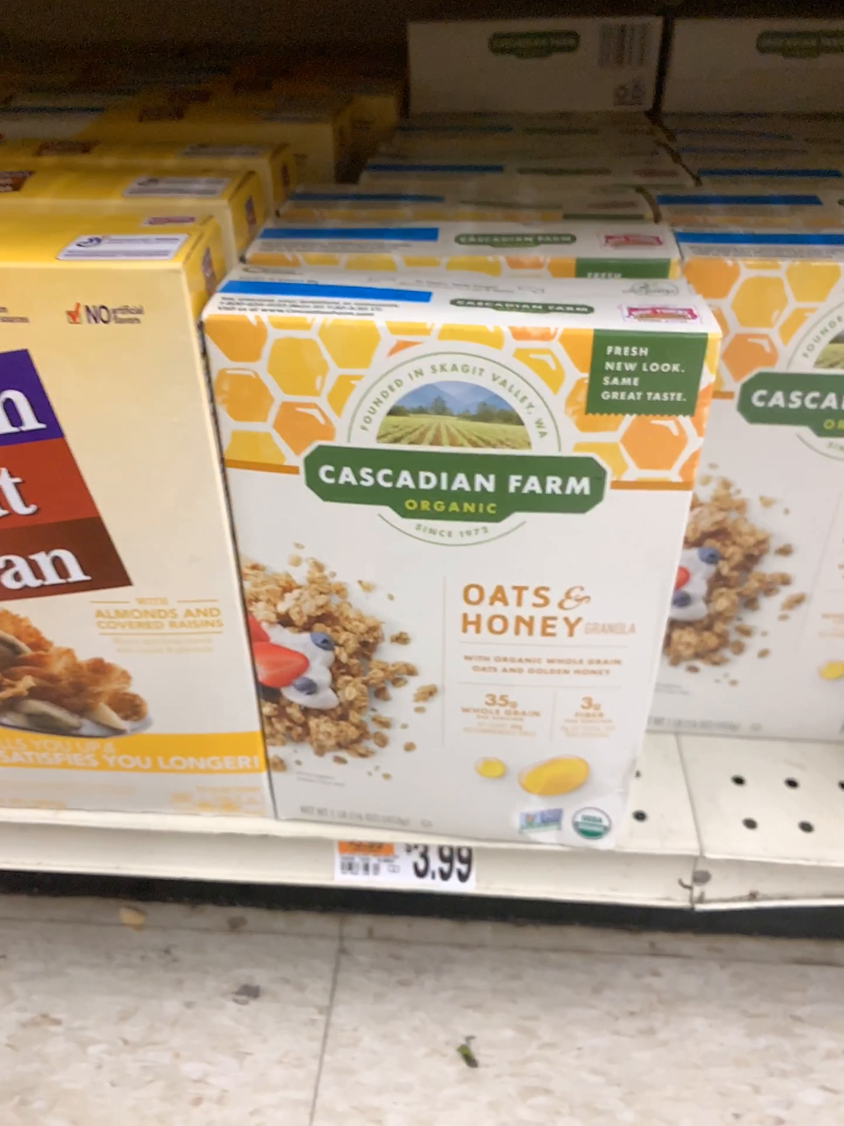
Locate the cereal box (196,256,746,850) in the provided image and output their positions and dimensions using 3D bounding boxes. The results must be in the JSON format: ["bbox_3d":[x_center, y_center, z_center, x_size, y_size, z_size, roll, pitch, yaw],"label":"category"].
[{"bbox_3d":[0.016,0.007,0.344,0.160,0.229,0.060,4,35,6],"label":"cereal box"}]
